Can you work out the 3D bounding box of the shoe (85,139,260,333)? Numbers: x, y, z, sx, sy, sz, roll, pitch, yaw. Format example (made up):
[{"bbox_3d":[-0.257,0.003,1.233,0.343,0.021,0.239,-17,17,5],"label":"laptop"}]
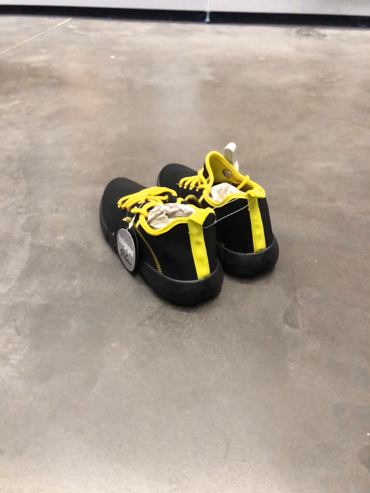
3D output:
[{"bbox_3d":[-0.027,-0.028,0.477,0.090,0.099,0.231,-19,42,-24],"label":"shoe"}]

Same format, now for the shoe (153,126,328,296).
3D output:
[{"bbox_3d":[0.054,-0.059,0.522,0.090,0.099,0.231,-19,42,-24],"label":"shoe"}]
